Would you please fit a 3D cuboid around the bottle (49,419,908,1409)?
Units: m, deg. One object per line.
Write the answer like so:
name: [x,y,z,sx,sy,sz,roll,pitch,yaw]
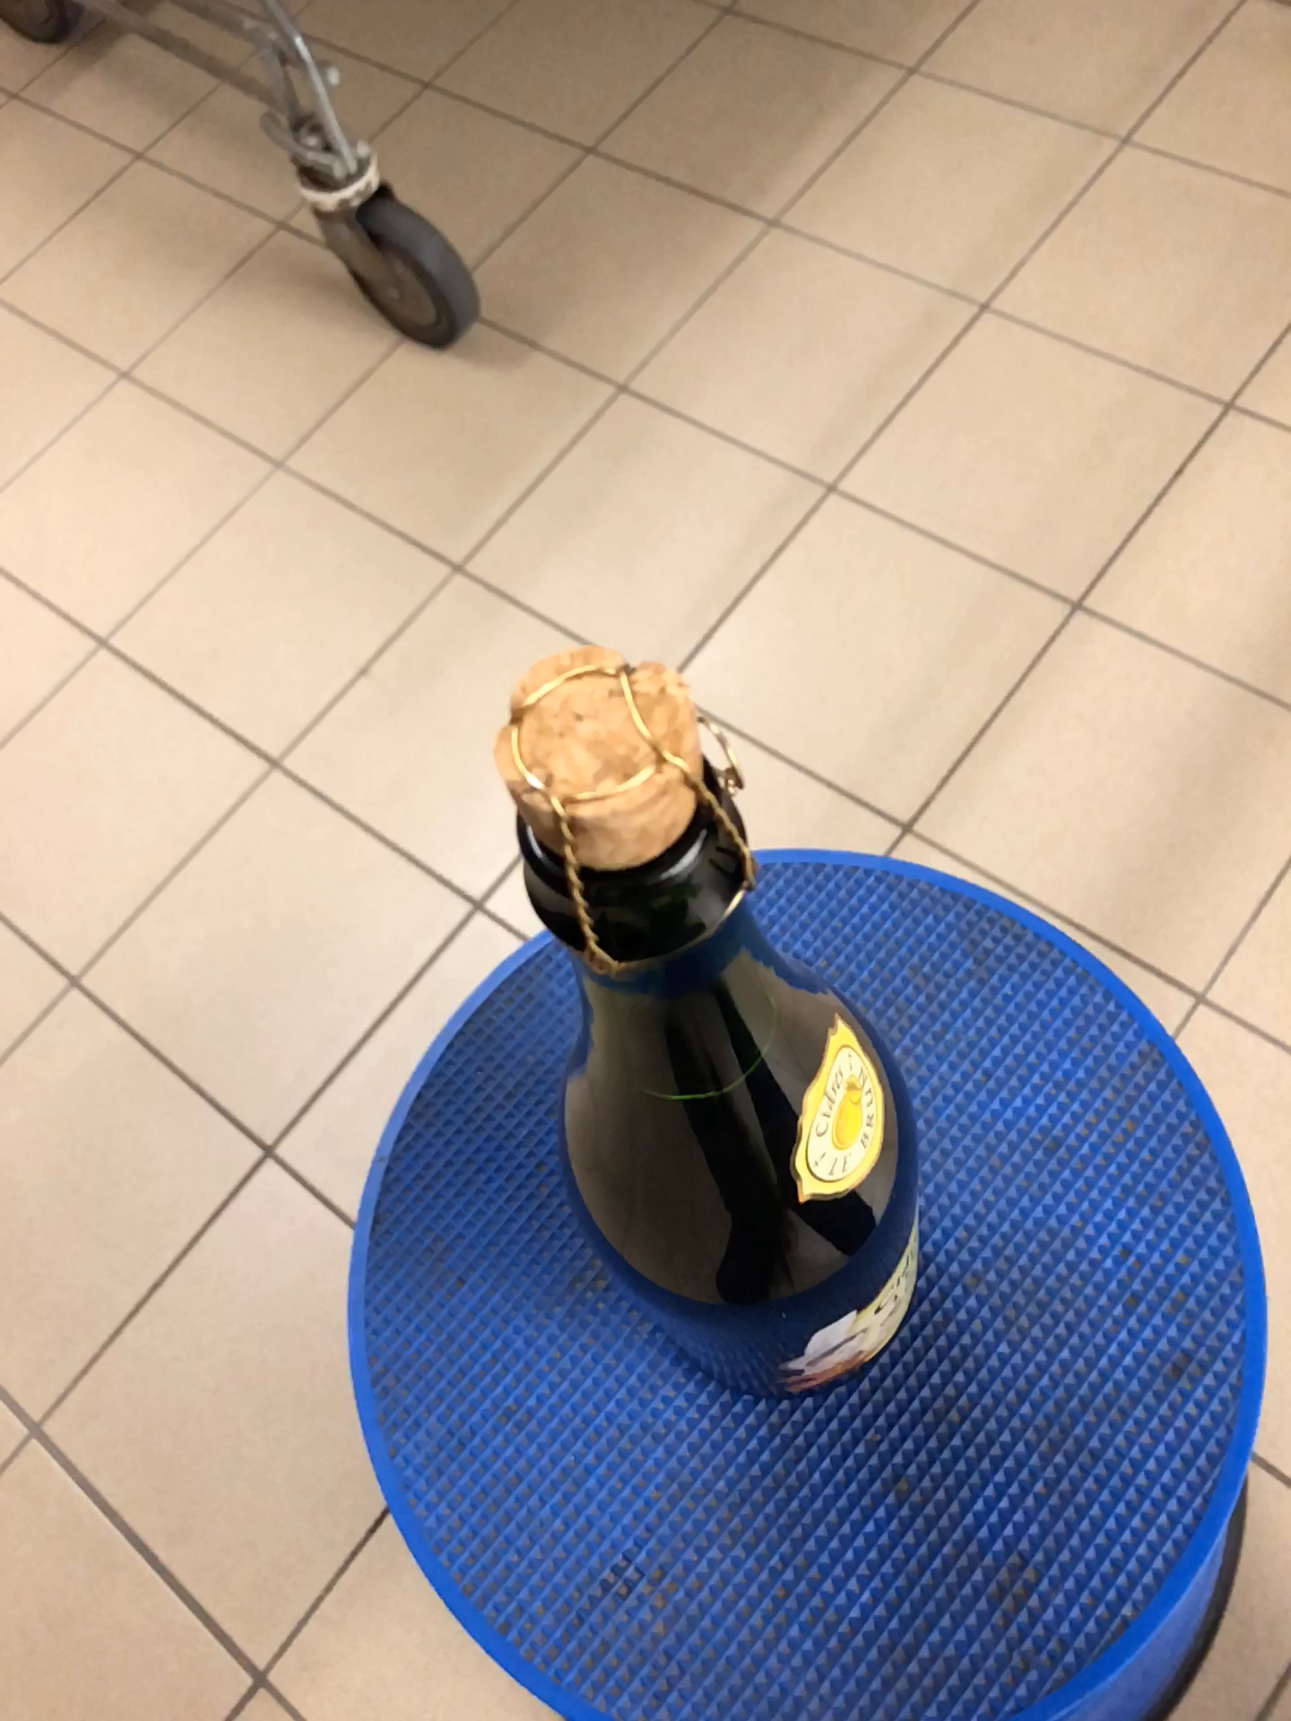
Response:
bottle: [0.007,0.050,0.305,0.090,0.299,0.090,-5,63,9]
